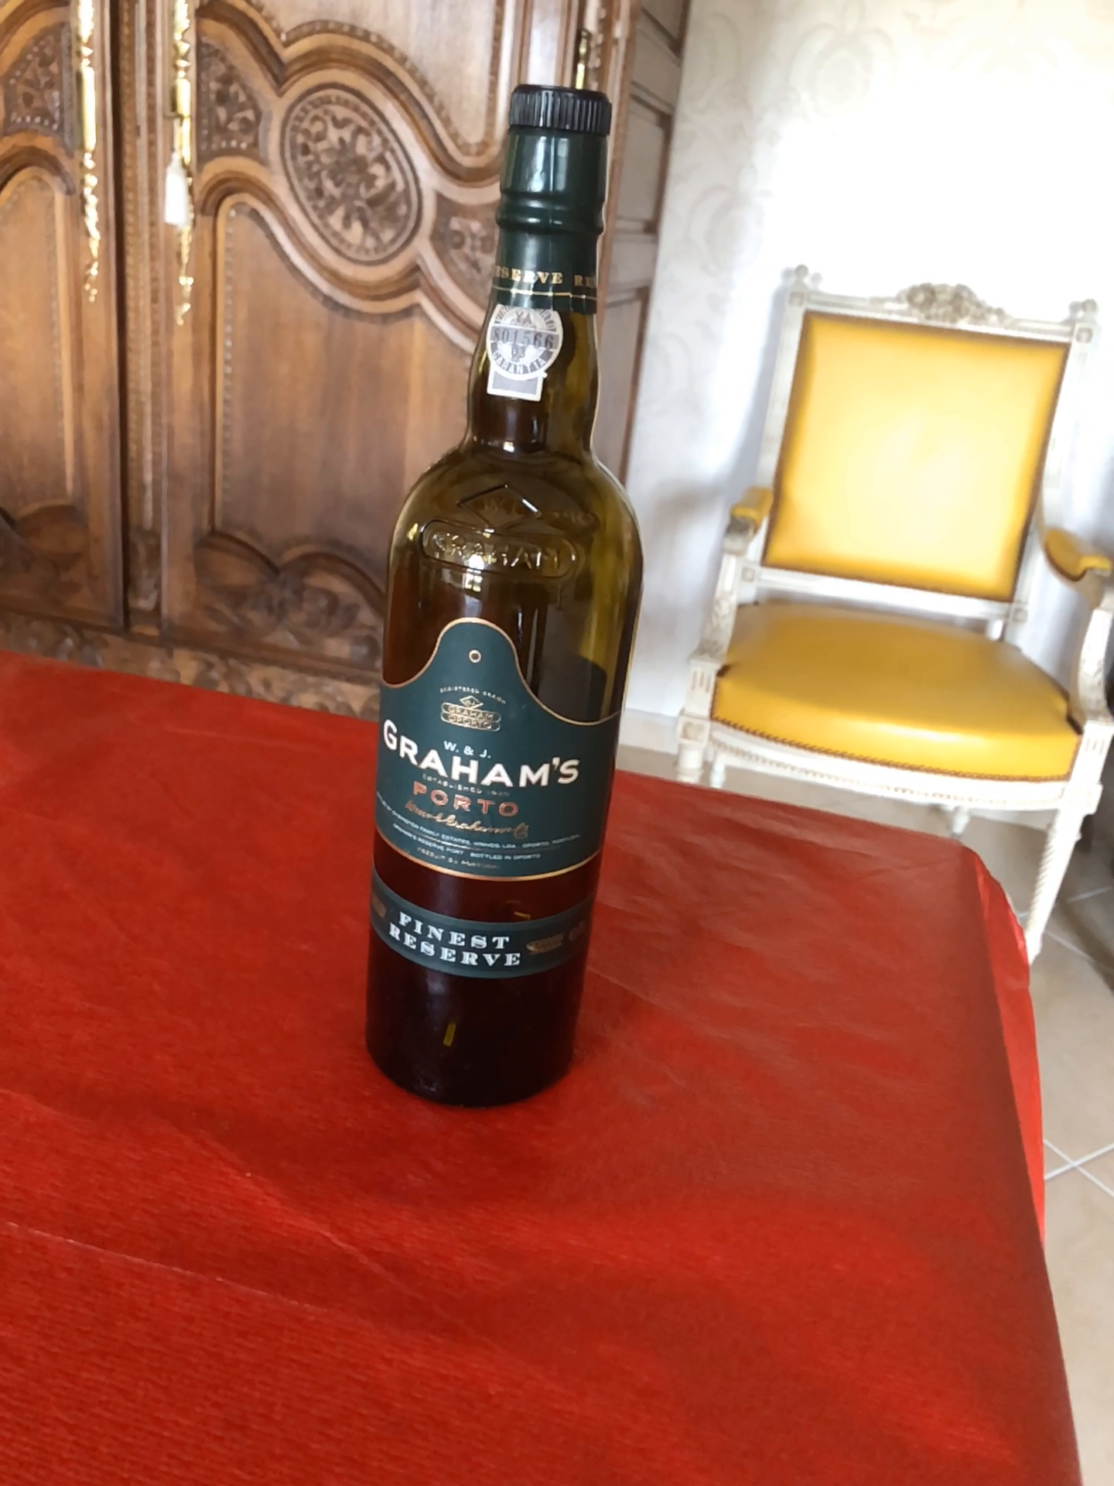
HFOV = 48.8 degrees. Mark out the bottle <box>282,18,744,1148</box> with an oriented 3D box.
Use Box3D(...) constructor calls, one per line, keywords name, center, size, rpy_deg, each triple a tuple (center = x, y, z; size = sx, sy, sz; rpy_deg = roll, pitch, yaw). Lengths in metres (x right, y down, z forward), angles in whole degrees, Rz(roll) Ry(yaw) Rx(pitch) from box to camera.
Box3D(name="bottle", center=(-0.018, -0.037, 0.371), size=(0.090, 0.298, 0.091), rpy_deg=(6, 23, -2))
